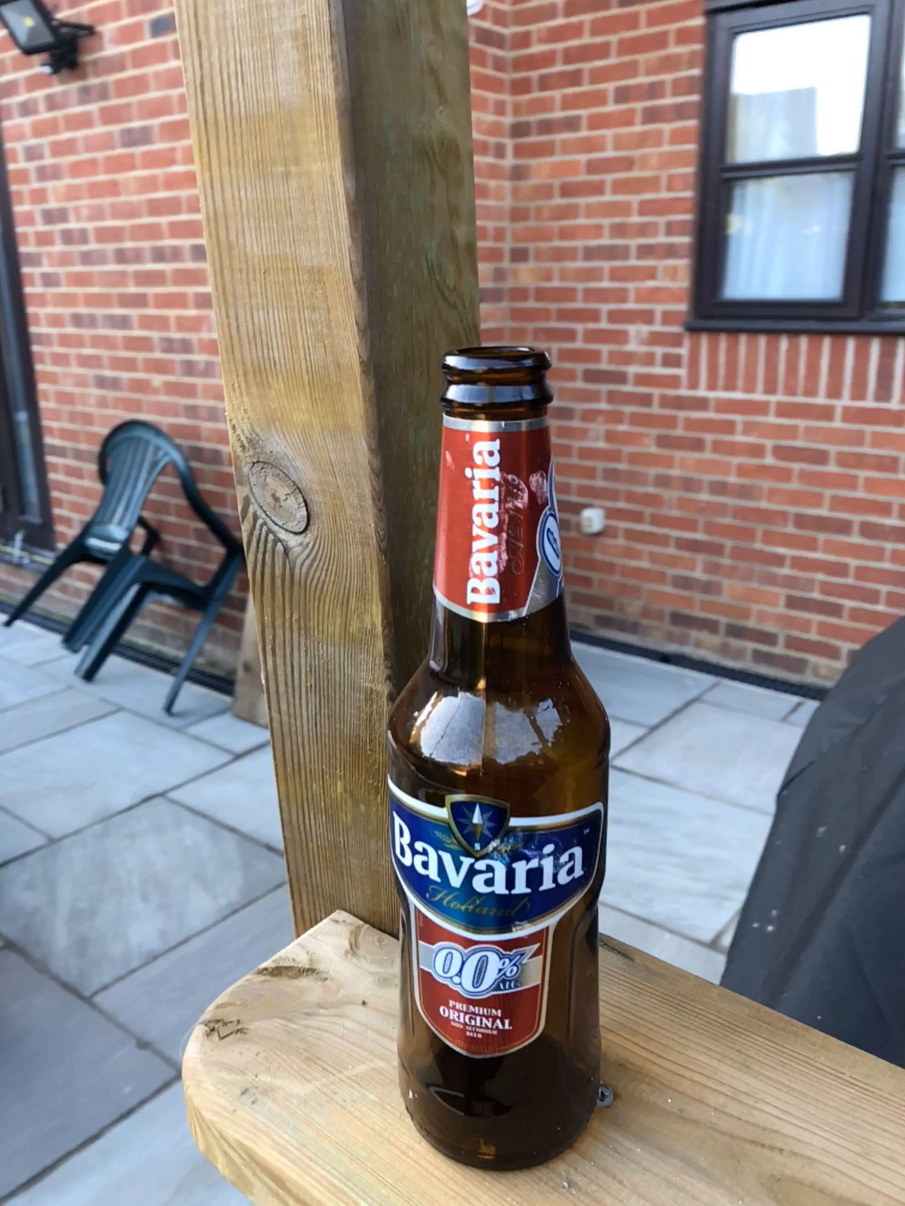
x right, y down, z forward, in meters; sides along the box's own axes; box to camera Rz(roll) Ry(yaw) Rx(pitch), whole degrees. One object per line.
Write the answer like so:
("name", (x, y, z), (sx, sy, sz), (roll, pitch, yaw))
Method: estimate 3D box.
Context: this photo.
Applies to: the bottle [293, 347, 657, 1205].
("bottle", (0.009, 0.043, 0.260), (0.070, 0.209, 0.060), (4, 17, 17))
